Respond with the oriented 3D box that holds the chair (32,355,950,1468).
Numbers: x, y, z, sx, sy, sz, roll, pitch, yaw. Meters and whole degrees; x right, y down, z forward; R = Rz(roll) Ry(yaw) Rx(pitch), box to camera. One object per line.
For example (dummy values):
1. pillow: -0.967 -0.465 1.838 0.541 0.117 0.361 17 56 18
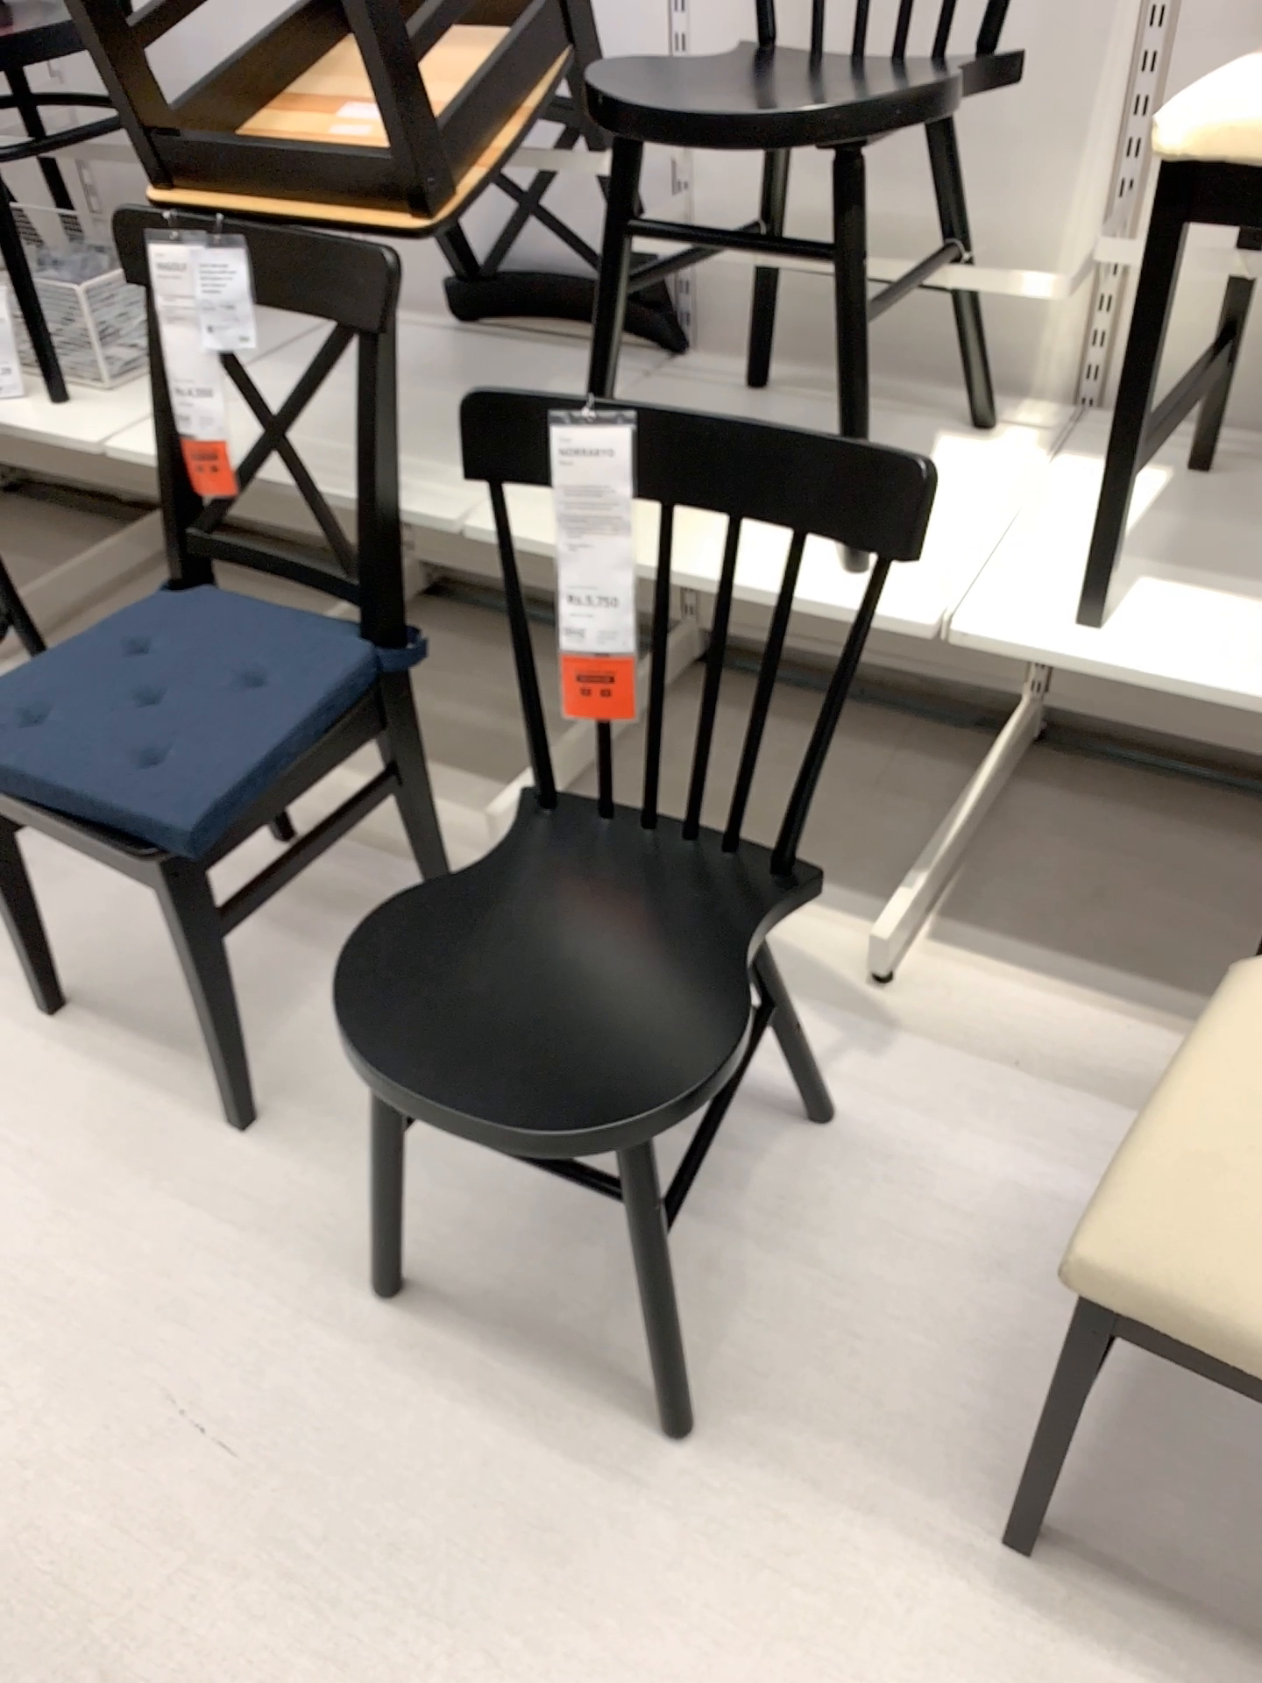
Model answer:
1. chair: -0.057 0.061 1.209 0.471 0.787 0.521 17 44 23
